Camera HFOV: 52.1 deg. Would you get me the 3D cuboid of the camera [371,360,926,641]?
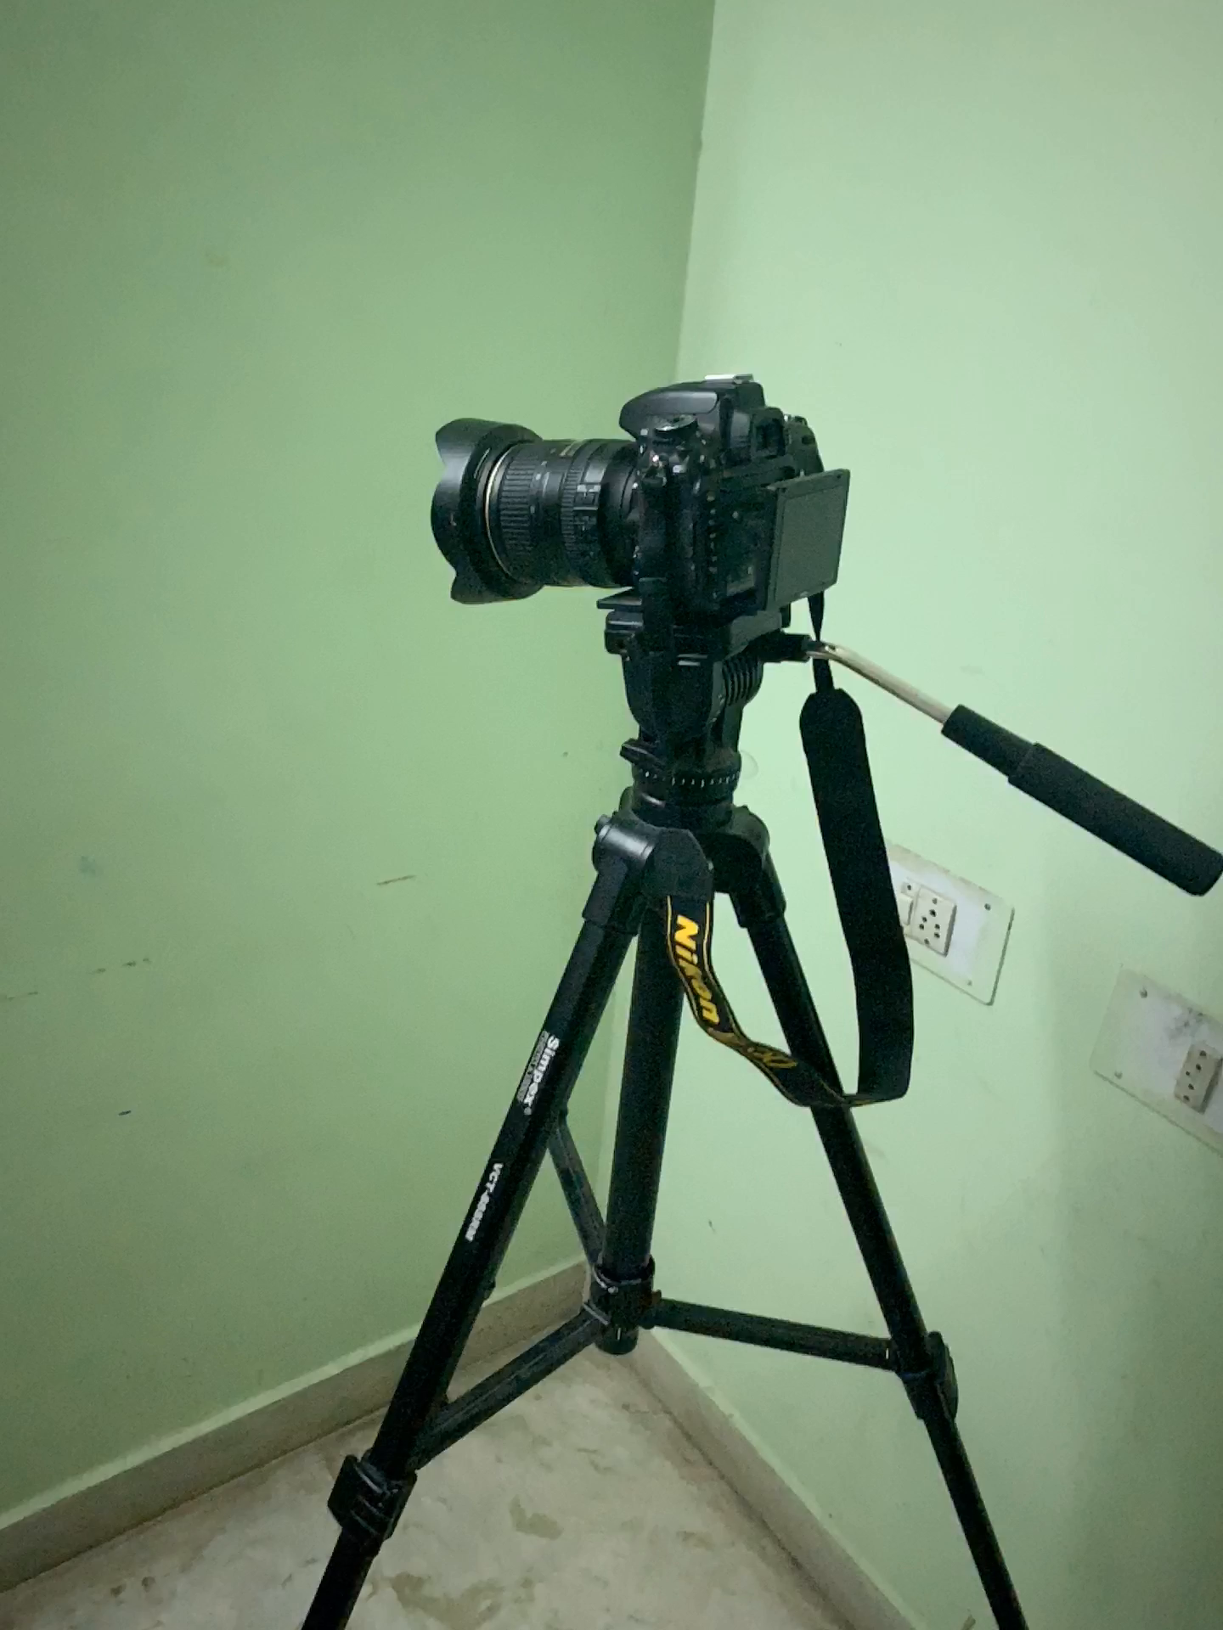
[{"bbox_3d":[0.025,-0.186,0.719,0.267,0.127,0.160,8,22,27],"label":"camera"}]
